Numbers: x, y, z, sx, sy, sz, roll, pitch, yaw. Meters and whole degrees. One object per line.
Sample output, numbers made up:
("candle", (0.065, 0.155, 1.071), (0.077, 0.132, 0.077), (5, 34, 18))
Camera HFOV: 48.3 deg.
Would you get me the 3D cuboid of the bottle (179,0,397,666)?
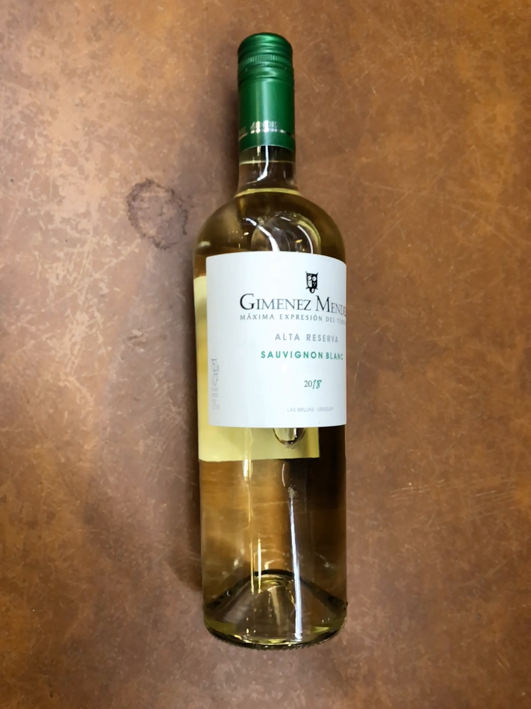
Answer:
("bottle", (0.007, -0.019, 0.291), (0.090, 0.050, 0.300), (0, 86, -13))
